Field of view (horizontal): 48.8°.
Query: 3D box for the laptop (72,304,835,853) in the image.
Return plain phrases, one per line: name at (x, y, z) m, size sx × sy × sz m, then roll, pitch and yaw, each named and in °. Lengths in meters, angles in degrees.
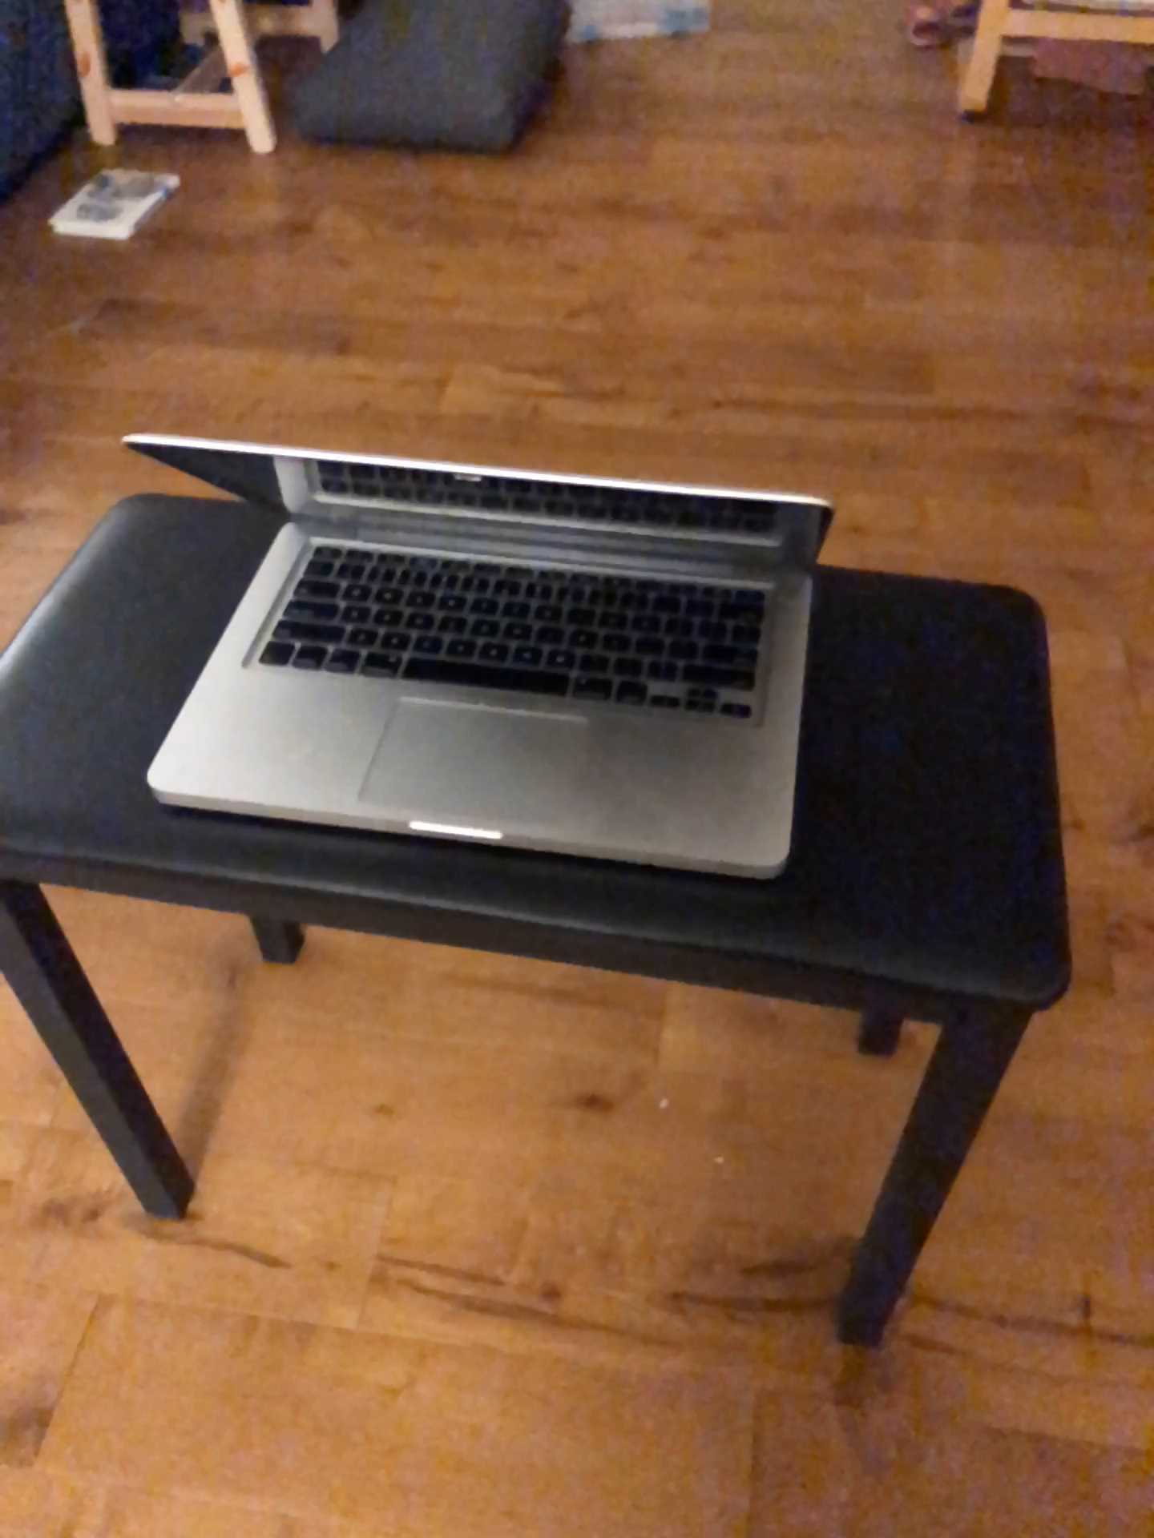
laptop at (-0.044, -0.104, 0.626) m, size 0.309 × 0.144 × 0.210 m, roll 6°, pitch 48°, yaw 11°
